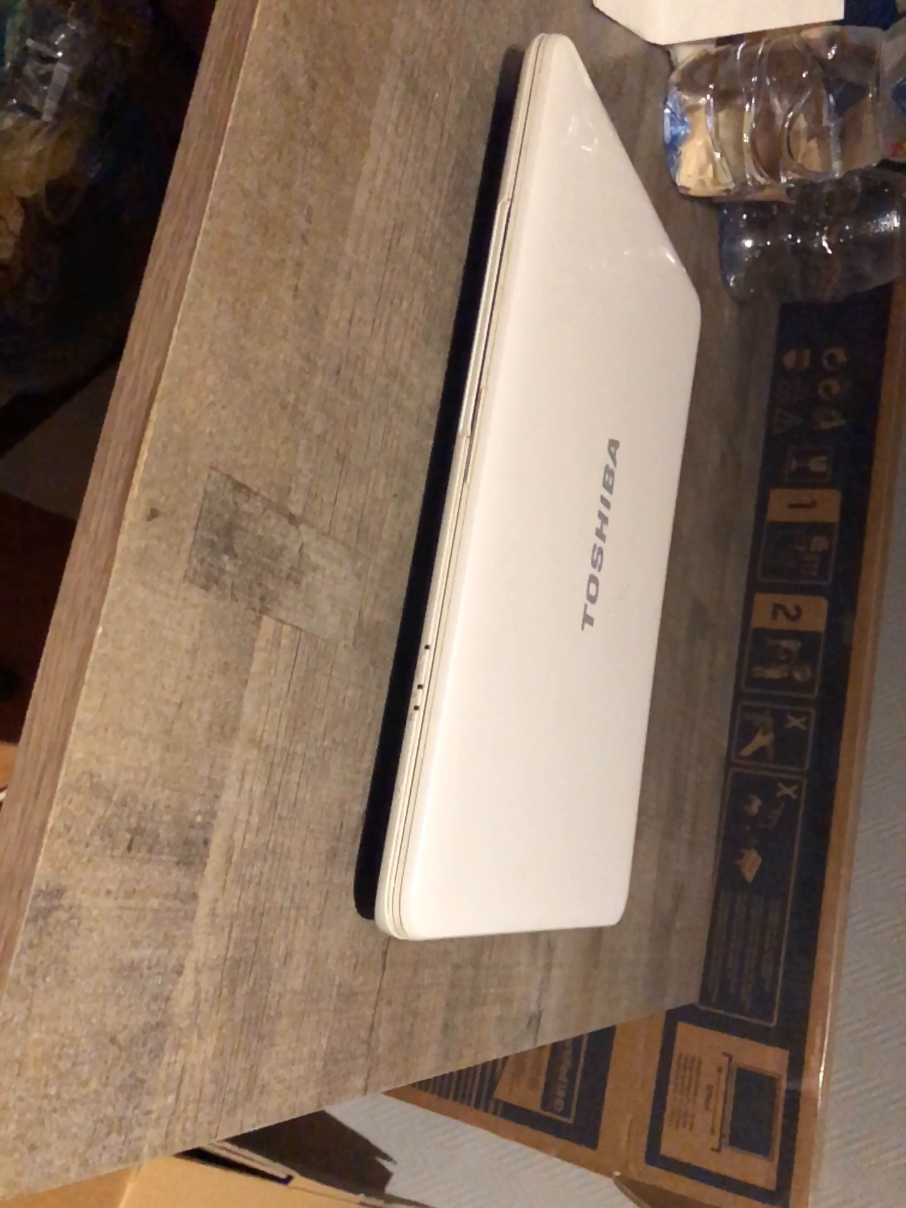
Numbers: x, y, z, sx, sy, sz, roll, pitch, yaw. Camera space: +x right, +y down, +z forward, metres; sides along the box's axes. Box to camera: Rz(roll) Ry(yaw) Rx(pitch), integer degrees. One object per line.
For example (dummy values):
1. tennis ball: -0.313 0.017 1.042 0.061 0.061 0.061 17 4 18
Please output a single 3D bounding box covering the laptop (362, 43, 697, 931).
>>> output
1. laptop: 0.060 -0.037 0.499 0.229 0.020 0.375 29 67 -57
